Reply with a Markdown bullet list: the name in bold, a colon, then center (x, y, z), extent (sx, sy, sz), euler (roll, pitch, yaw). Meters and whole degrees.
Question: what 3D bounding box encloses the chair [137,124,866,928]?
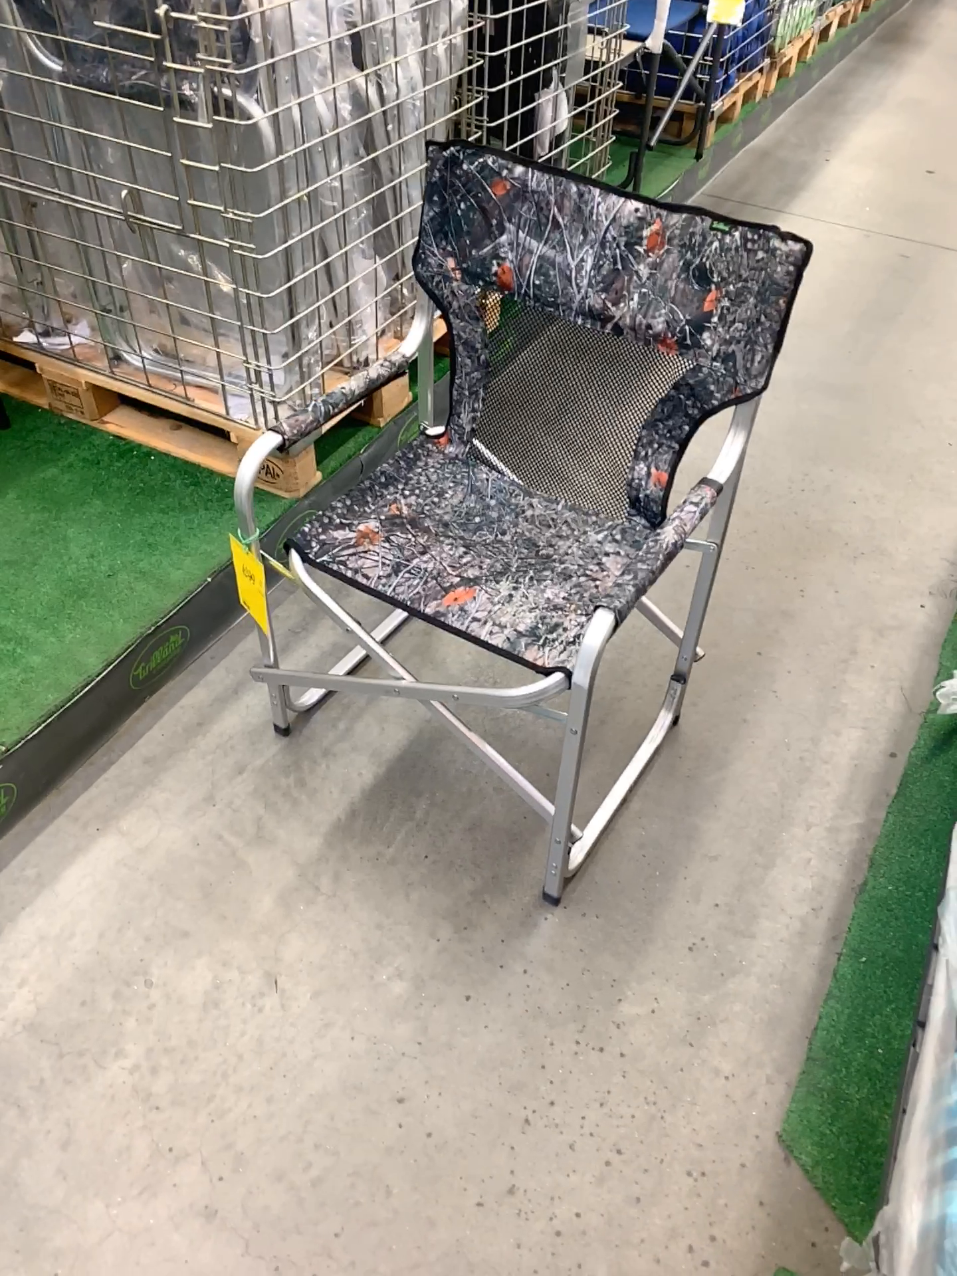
- **chair**: center (0.034, -0.179, 1.461), extent (0.651, 0.836, 0.612), euler (27, 49, 23)
